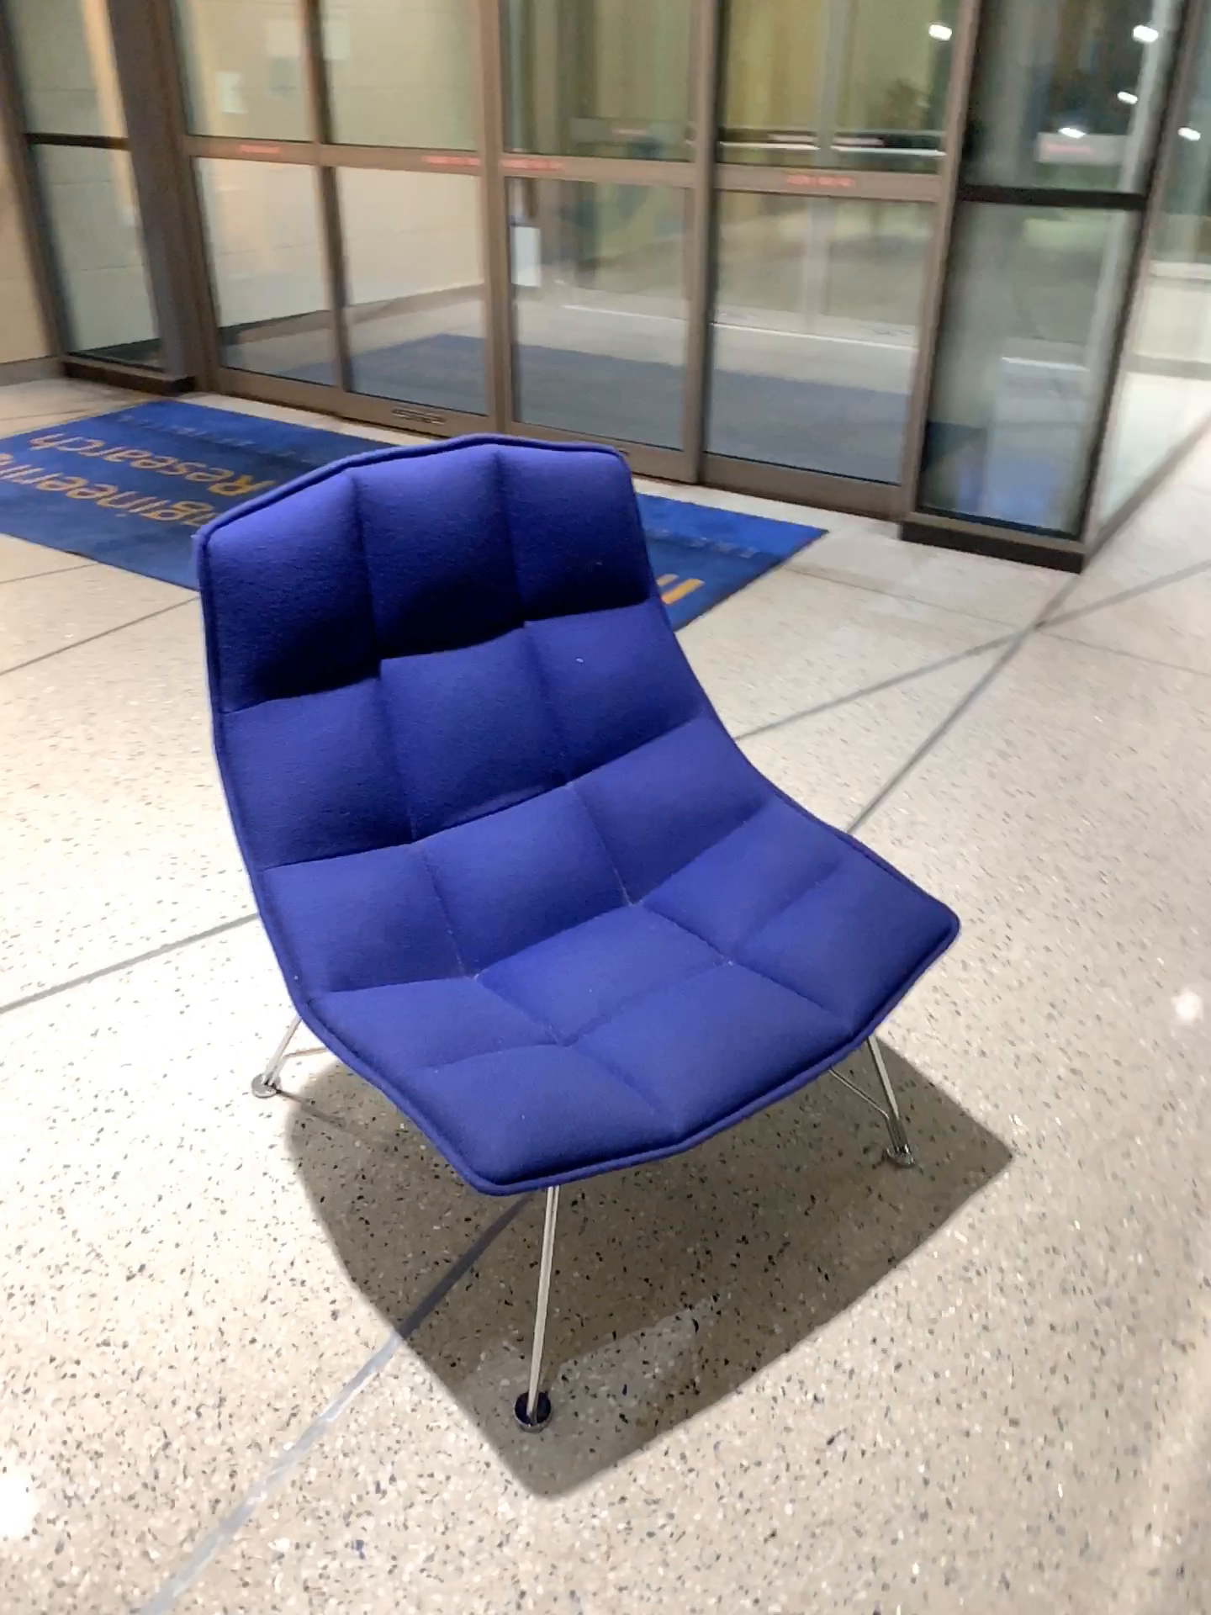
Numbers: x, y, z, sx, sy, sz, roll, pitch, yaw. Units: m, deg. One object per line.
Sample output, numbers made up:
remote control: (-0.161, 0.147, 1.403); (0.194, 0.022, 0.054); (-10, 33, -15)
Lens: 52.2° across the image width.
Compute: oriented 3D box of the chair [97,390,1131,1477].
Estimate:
chair: (-0.014, 0.043, 1.612); (0.856, 0.894, 0.799); (-21, 36, -32)
